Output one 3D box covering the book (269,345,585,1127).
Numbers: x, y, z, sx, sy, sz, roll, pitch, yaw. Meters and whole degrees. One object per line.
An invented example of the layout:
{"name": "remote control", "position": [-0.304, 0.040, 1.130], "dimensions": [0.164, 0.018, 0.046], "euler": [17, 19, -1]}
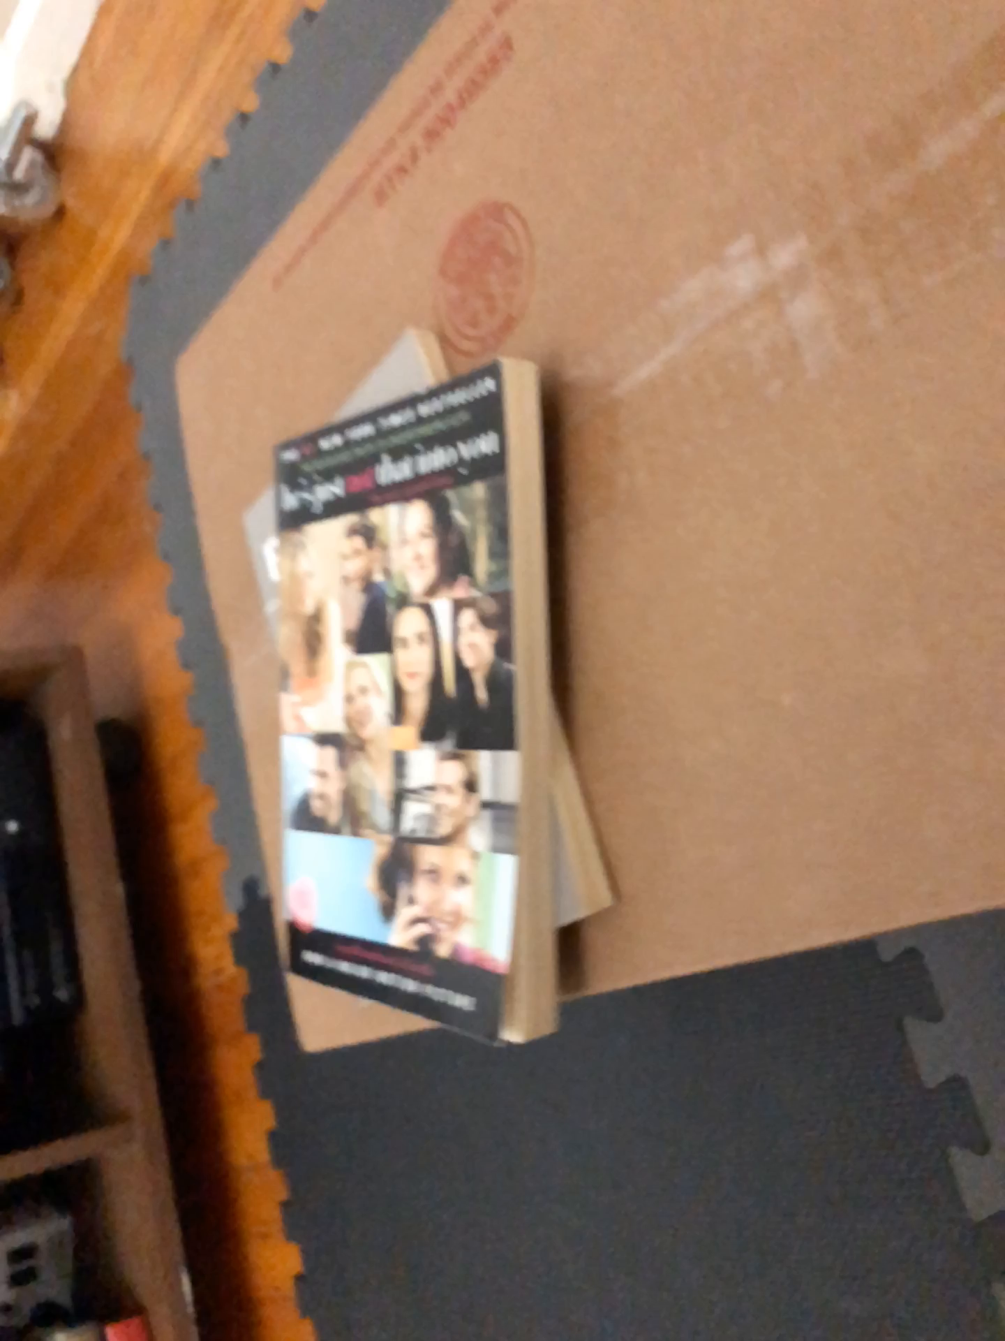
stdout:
{"name": "book", "position": [-0.034, 0.022, 0.391], "dimensions": [0.151, 0.010, 0.230], "euler": [-6, 86, 49]}
